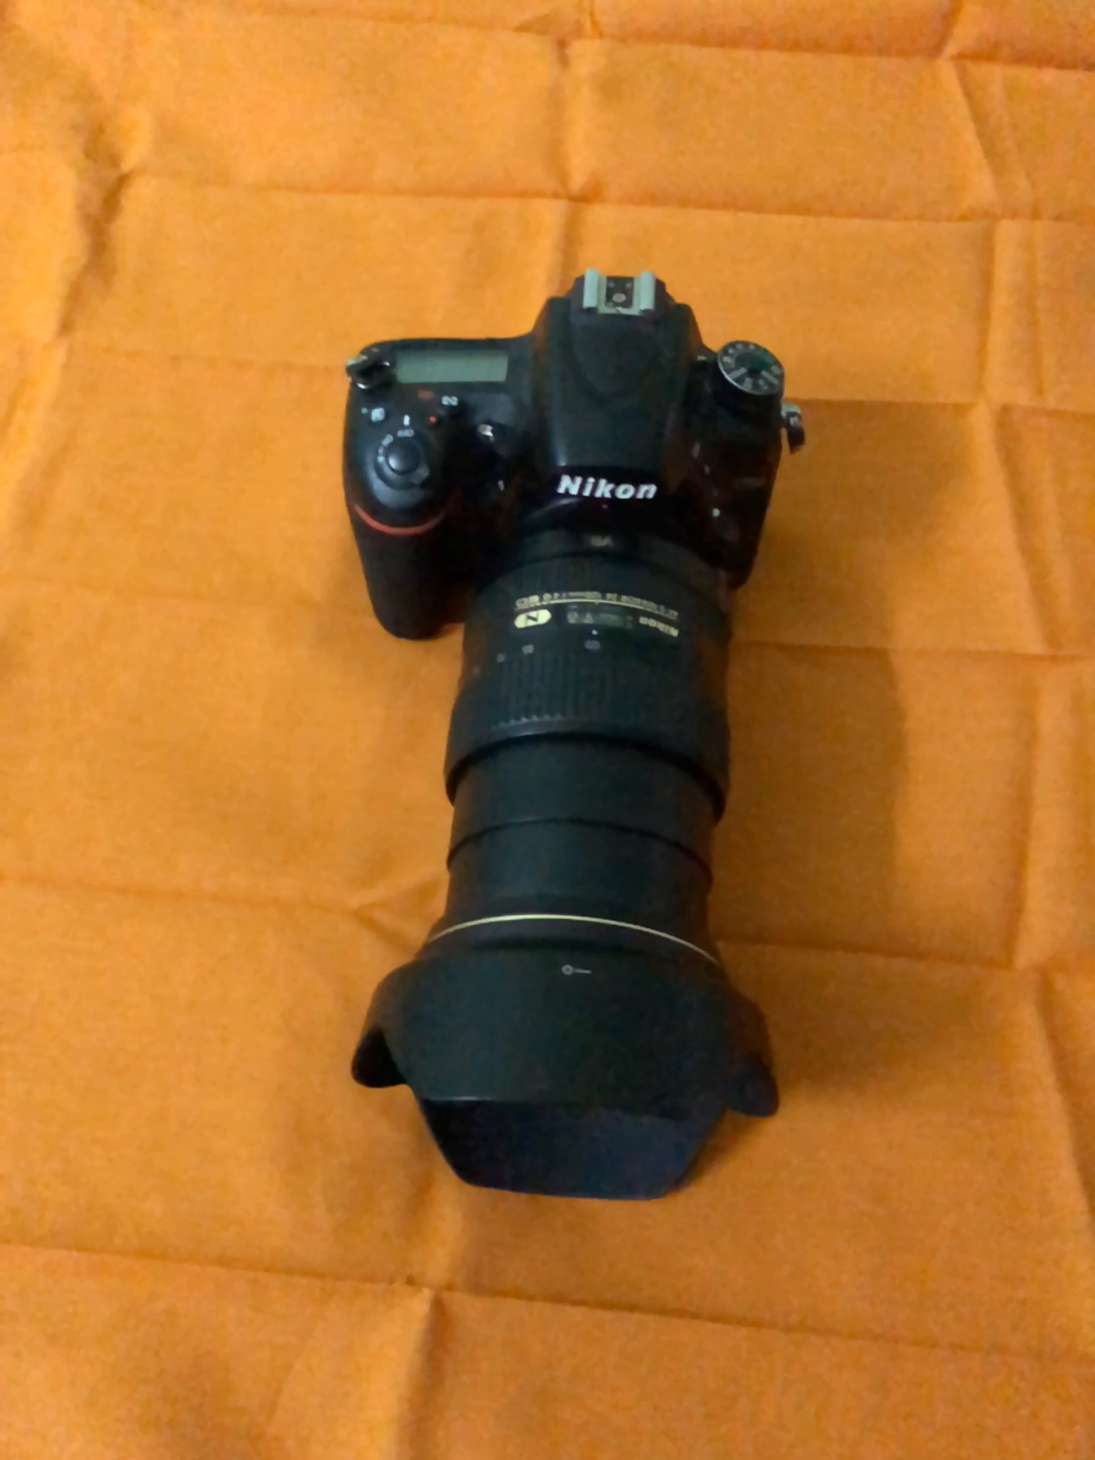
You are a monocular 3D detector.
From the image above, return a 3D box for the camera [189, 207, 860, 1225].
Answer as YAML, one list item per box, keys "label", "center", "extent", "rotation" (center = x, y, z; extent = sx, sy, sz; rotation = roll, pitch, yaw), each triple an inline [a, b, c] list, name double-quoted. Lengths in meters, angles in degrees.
- label: "camera"
  center: [0.002, -0.008, 0.350]
  extent: [0.130, 0.120, 0.264]
  rotation: [2, 63, 2]
